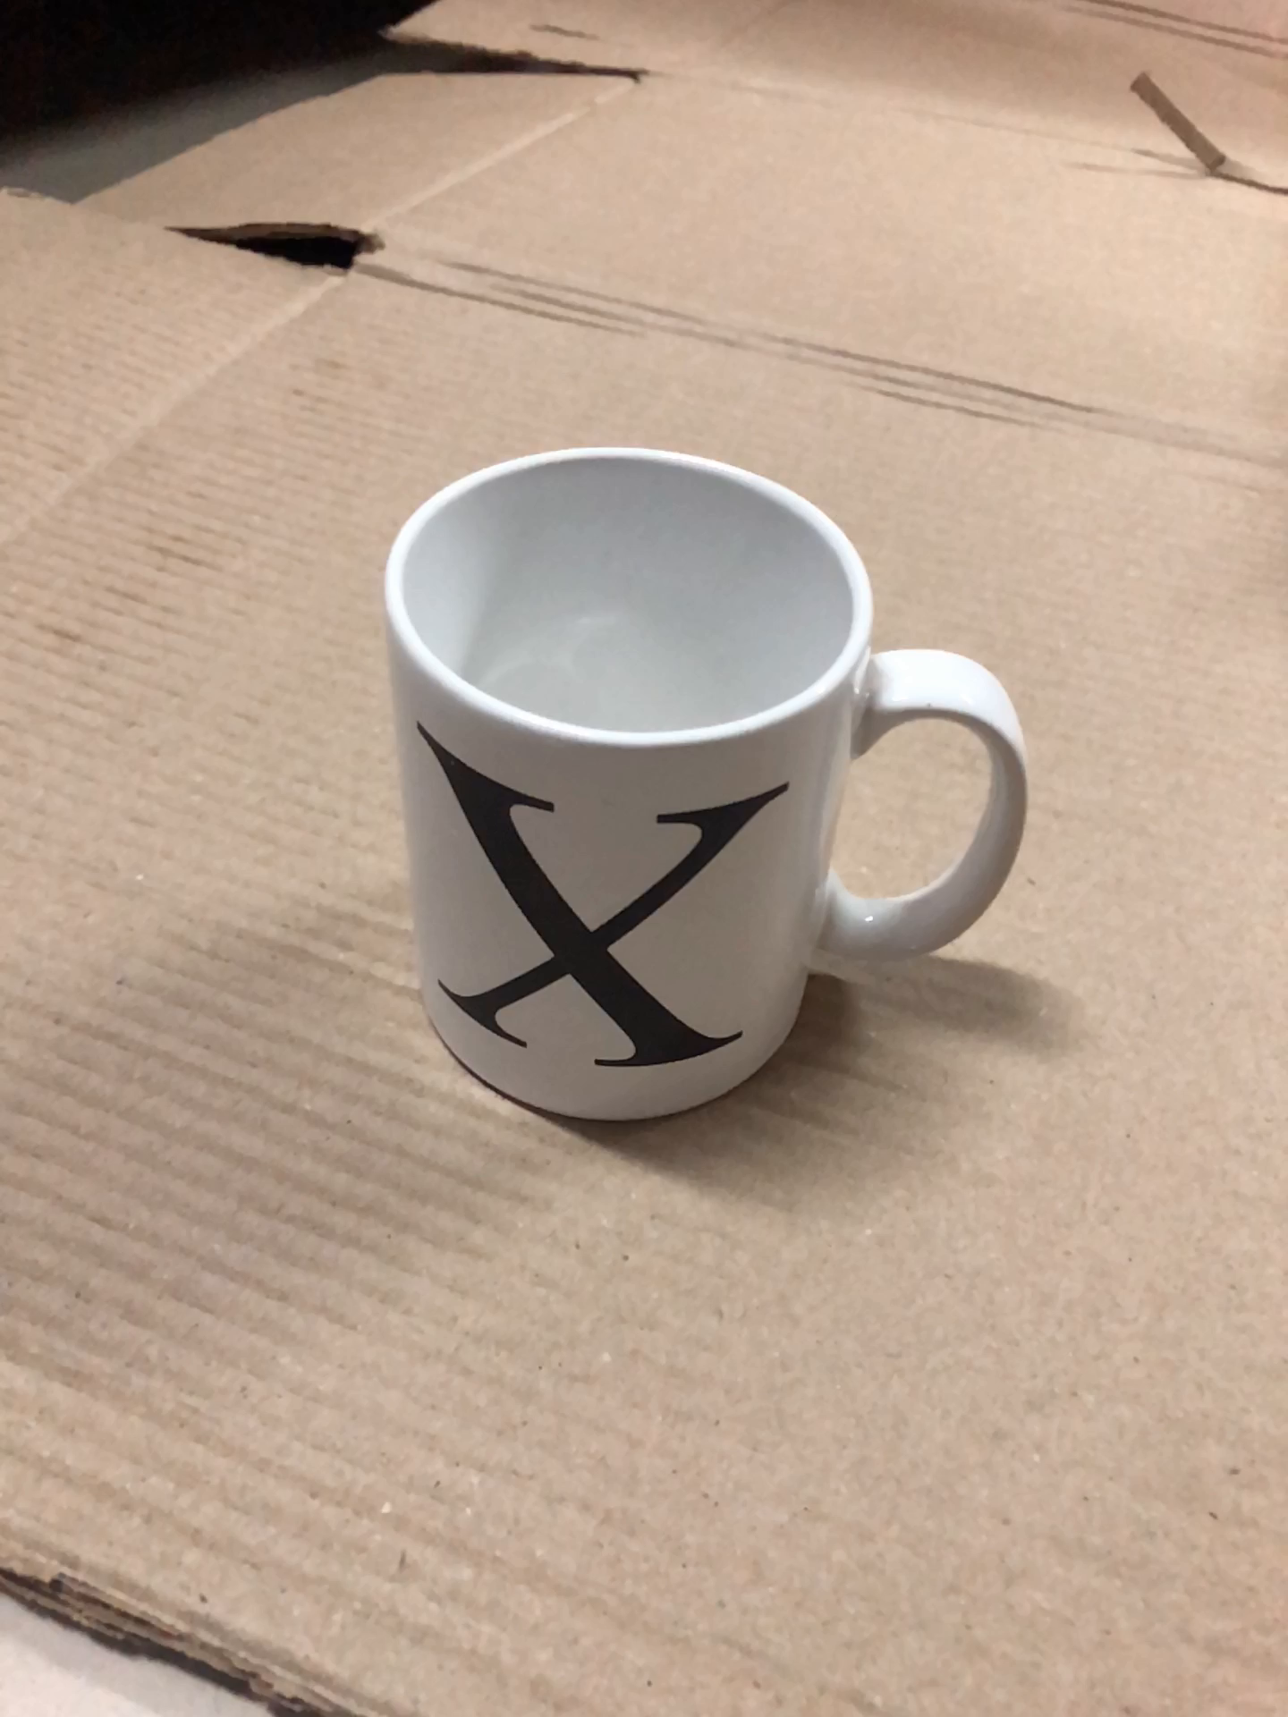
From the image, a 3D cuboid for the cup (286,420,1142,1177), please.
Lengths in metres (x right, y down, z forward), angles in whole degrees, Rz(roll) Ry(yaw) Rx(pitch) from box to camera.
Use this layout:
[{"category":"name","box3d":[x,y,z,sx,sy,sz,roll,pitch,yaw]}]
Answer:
[{"category":"cup","box3d":[0.008,-0.010,0.244,0.110,0.089,0.081,4,41,0]}]
